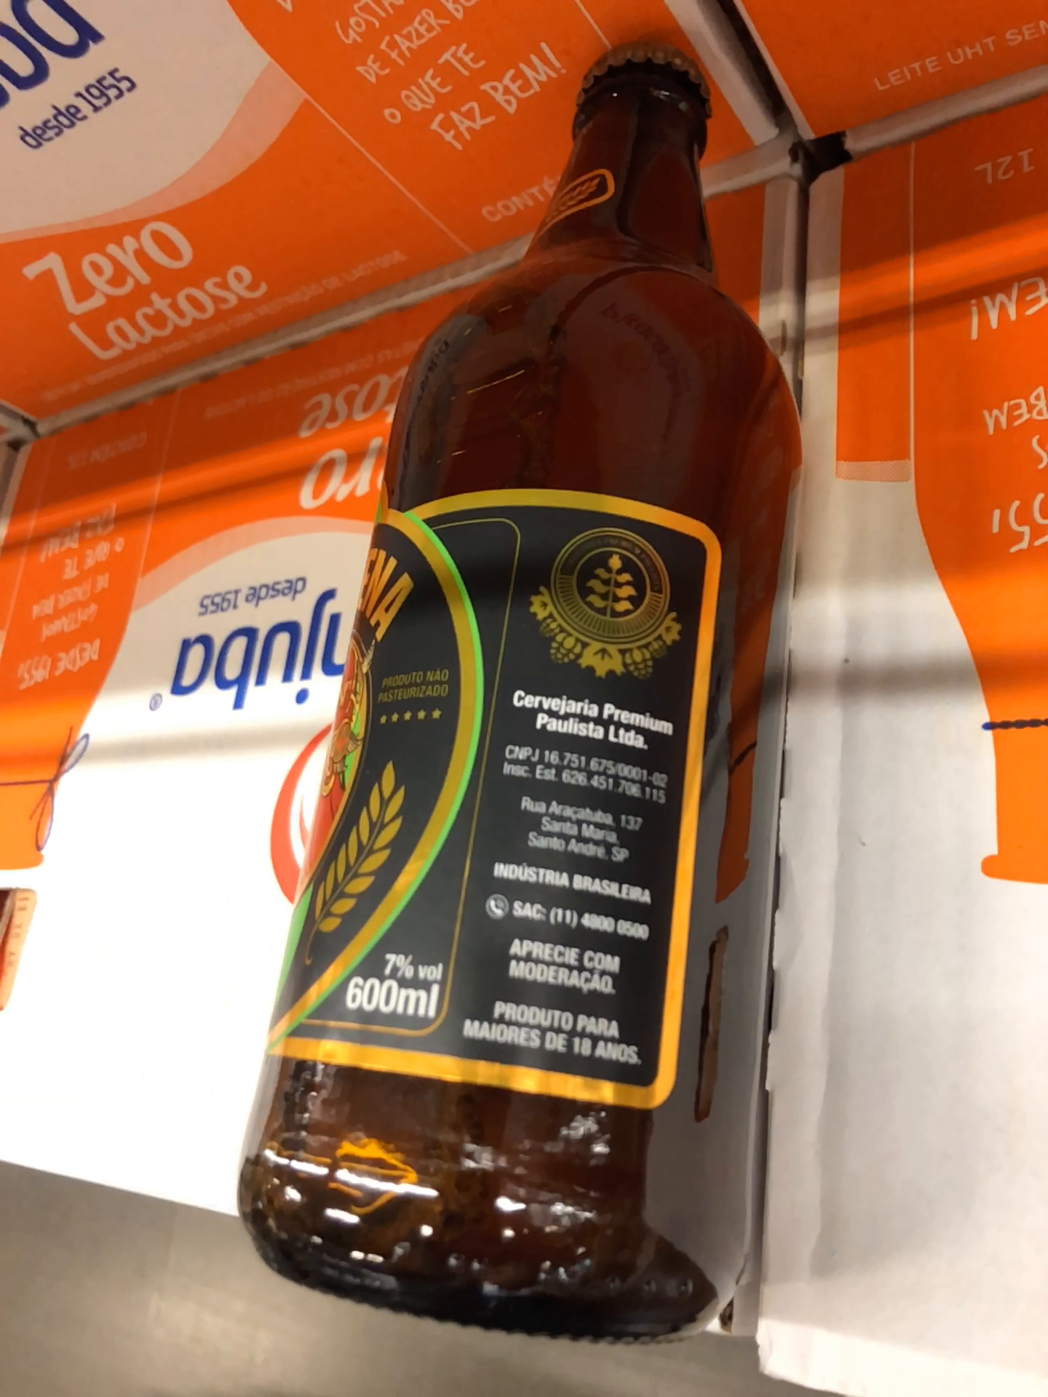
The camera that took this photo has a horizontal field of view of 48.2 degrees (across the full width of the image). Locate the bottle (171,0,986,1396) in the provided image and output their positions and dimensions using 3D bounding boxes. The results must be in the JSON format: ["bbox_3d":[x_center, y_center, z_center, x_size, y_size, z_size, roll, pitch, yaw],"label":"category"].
[{"bbox_3d":[0.023,-0.039,0.213,0.100,0.060,0.280,-6,66,35],"label":"bottle"}]
